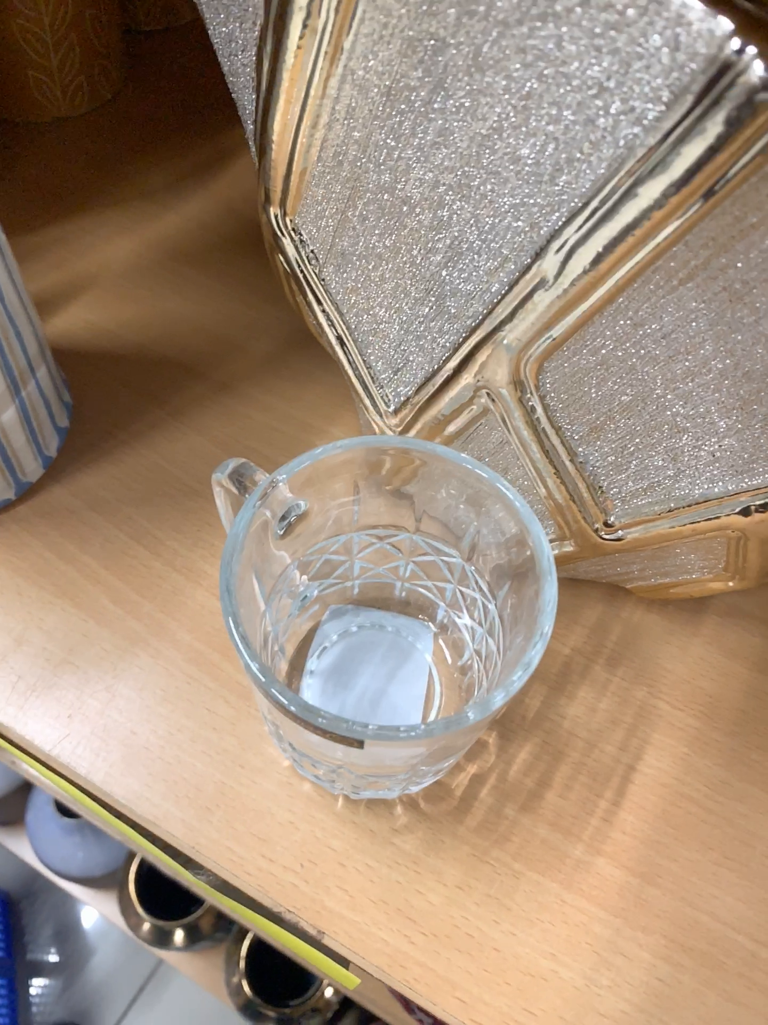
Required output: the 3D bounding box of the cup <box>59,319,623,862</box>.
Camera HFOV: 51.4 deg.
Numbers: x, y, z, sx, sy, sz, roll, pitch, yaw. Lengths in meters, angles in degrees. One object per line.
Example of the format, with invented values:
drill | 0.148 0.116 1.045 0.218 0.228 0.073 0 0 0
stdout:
cup | -0.011 0.024 0.211 0.100 0.090 0.070 31 61 13
